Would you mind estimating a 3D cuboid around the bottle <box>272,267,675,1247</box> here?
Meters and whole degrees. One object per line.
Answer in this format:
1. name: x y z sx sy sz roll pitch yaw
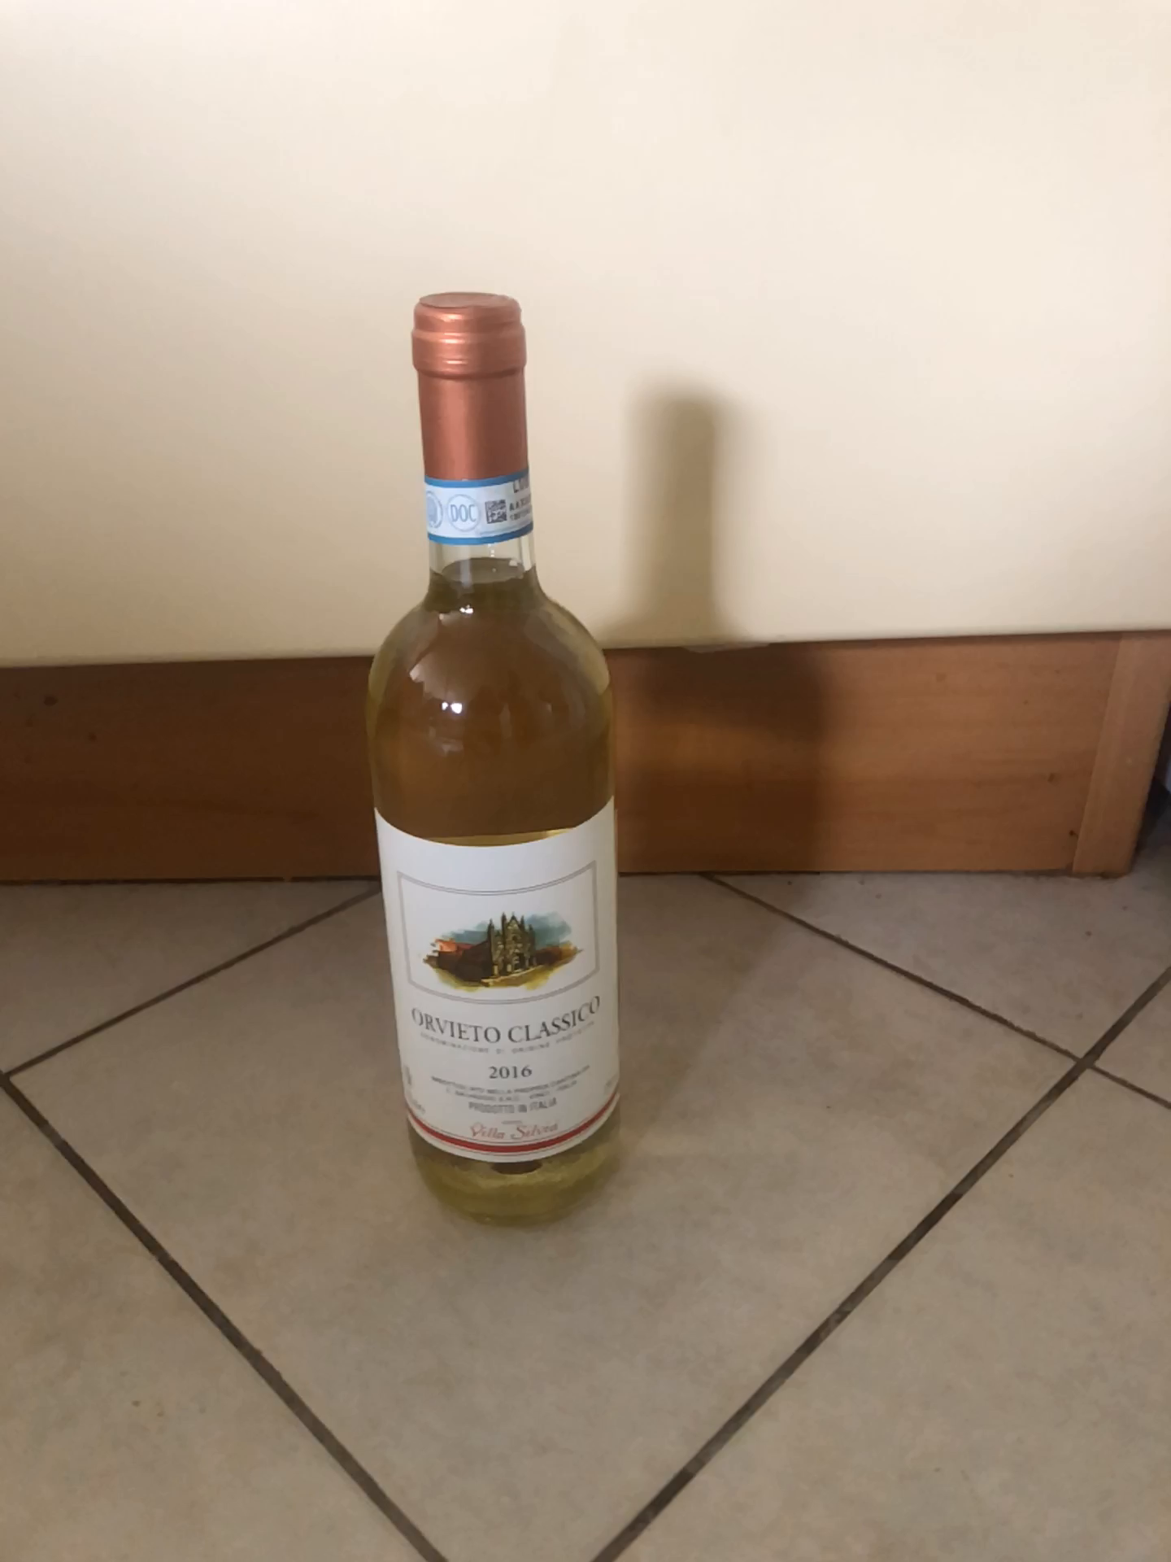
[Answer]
1. bottle: -0.026 0.003 0.397 0.090 0.288 0.090 0 28 0
